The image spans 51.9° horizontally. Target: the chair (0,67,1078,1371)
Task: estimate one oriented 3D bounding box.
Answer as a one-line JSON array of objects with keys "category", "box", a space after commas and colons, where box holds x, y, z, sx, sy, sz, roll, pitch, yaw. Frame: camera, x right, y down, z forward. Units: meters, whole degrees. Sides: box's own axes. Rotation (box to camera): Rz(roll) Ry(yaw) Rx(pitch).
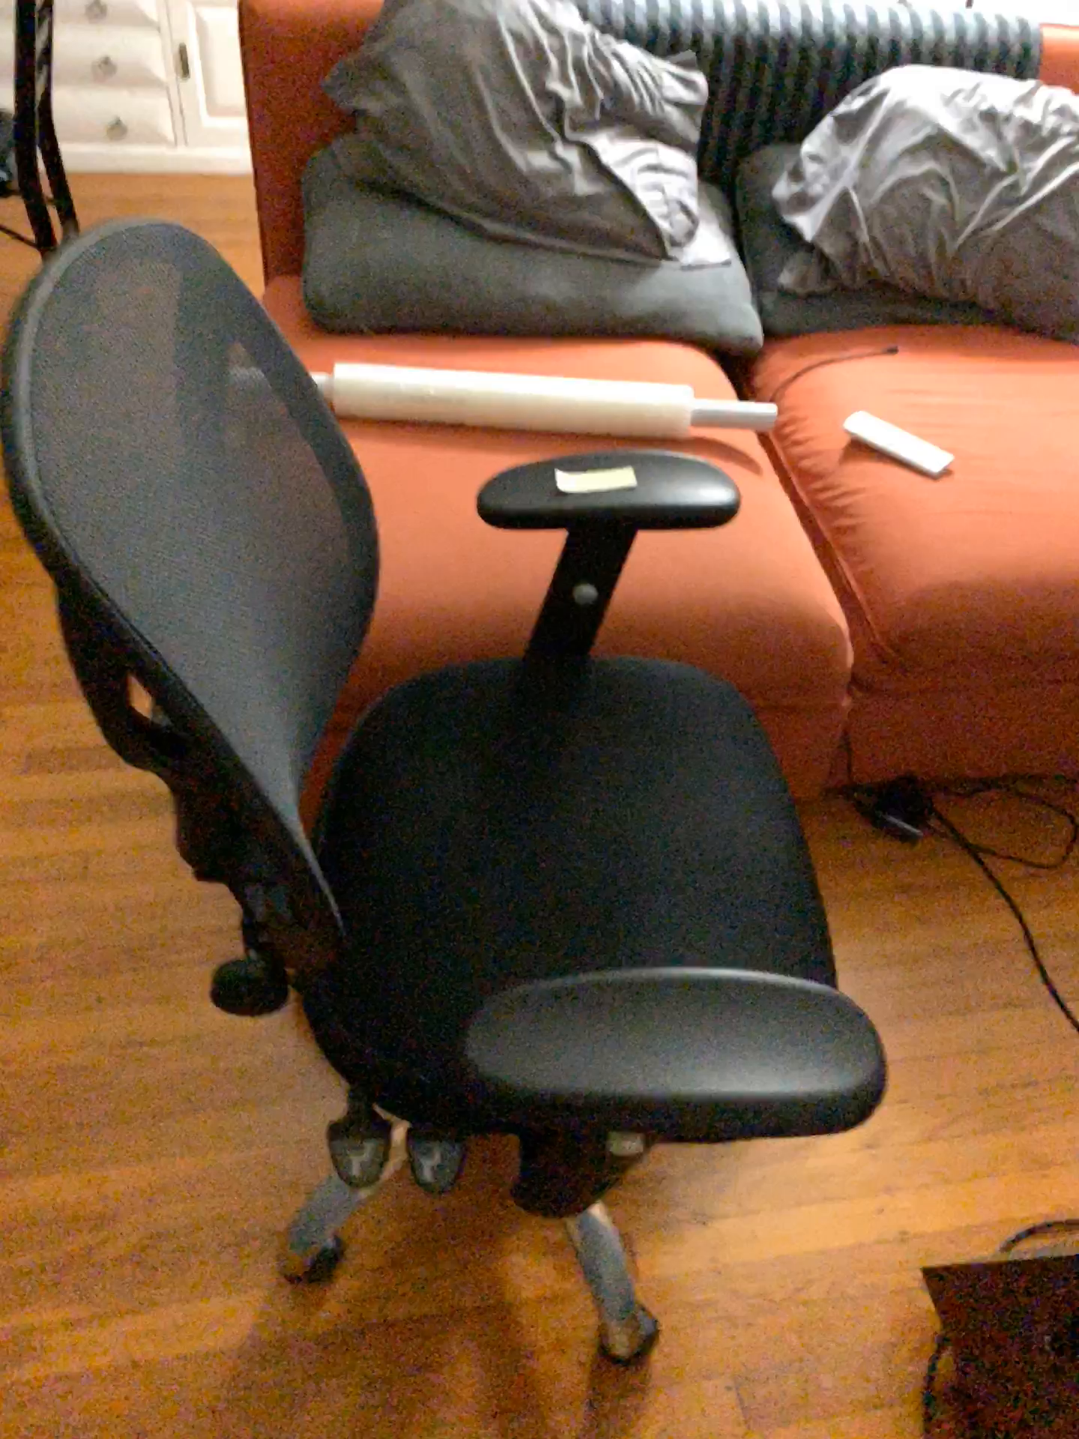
[{"category": "chair", "box": [-0.048, 0.057, 0.988, 0.660, 0.974, 0.644, 1, 44, 2]}]
